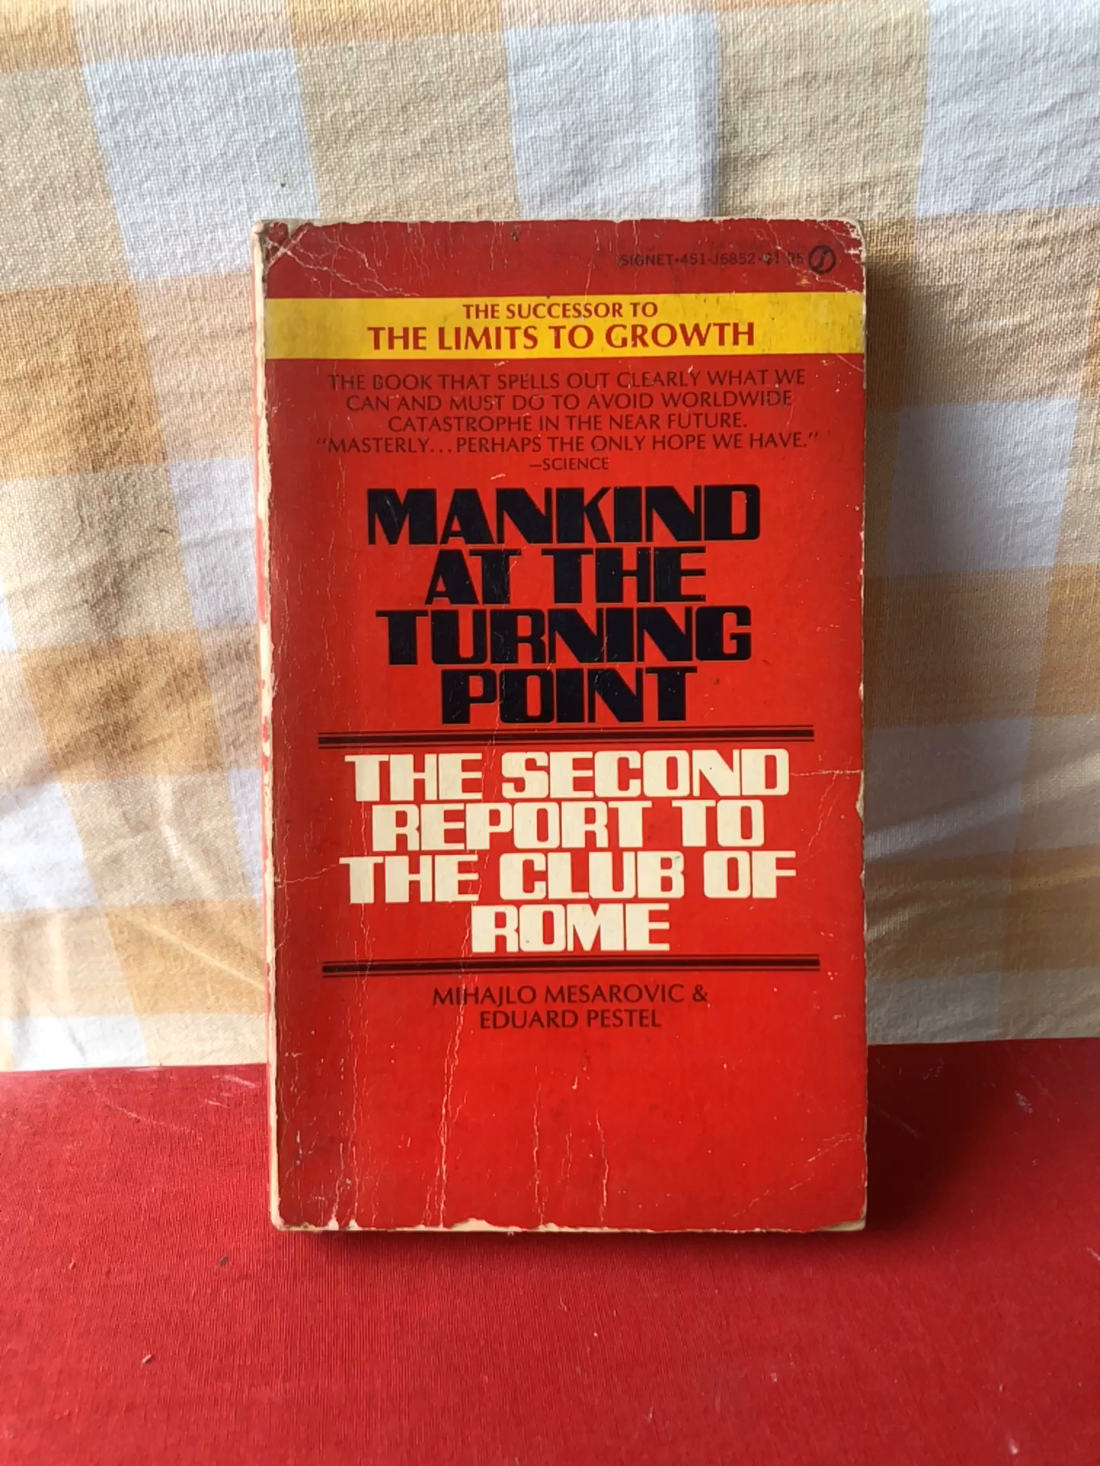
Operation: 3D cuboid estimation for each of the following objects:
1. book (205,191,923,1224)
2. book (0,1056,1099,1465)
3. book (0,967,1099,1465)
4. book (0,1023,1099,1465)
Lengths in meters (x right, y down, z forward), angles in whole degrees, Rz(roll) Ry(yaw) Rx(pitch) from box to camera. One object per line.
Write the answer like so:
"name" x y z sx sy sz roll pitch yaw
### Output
"book" 0.003 -0.002 0.221 0.110 0.170 0.040 -1 9 0
"book" -0.001 0.156 0.232 0.240 0.040 0.191 -4 34 2
"book" 0.000 0.138 0.247 0.280 0.040 0.191 -4 34 2
"book" -0.004 0.152 0.244 0.270 0.040 0.191 -4 34 2
